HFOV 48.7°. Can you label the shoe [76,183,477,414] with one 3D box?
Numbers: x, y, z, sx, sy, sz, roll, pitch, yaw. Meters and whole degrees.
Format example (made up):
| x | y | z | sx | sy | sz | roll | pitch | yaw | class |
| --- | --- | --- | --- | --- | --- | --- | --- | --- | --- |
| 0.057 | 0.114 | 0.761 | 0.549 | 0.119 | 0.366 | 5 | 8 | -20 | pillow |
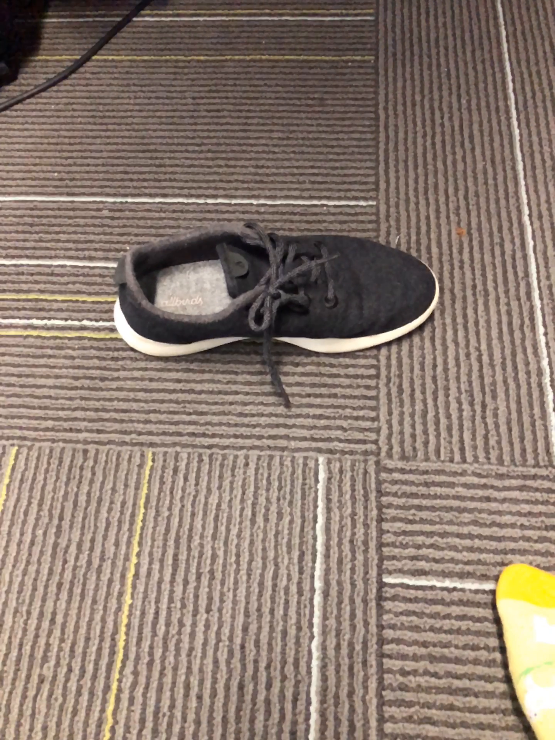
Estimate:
| x | y | z | sx | sy | sz | roll | pitch | yaw | class |
| --- | --- | --- | --- | --- | --- | --- | --- | --- | --- |
| -0.006 | -0.057 | 0.483 | 0.280 | 0.060 | 0.140 | -6 | 65 | 1 | shoe |
